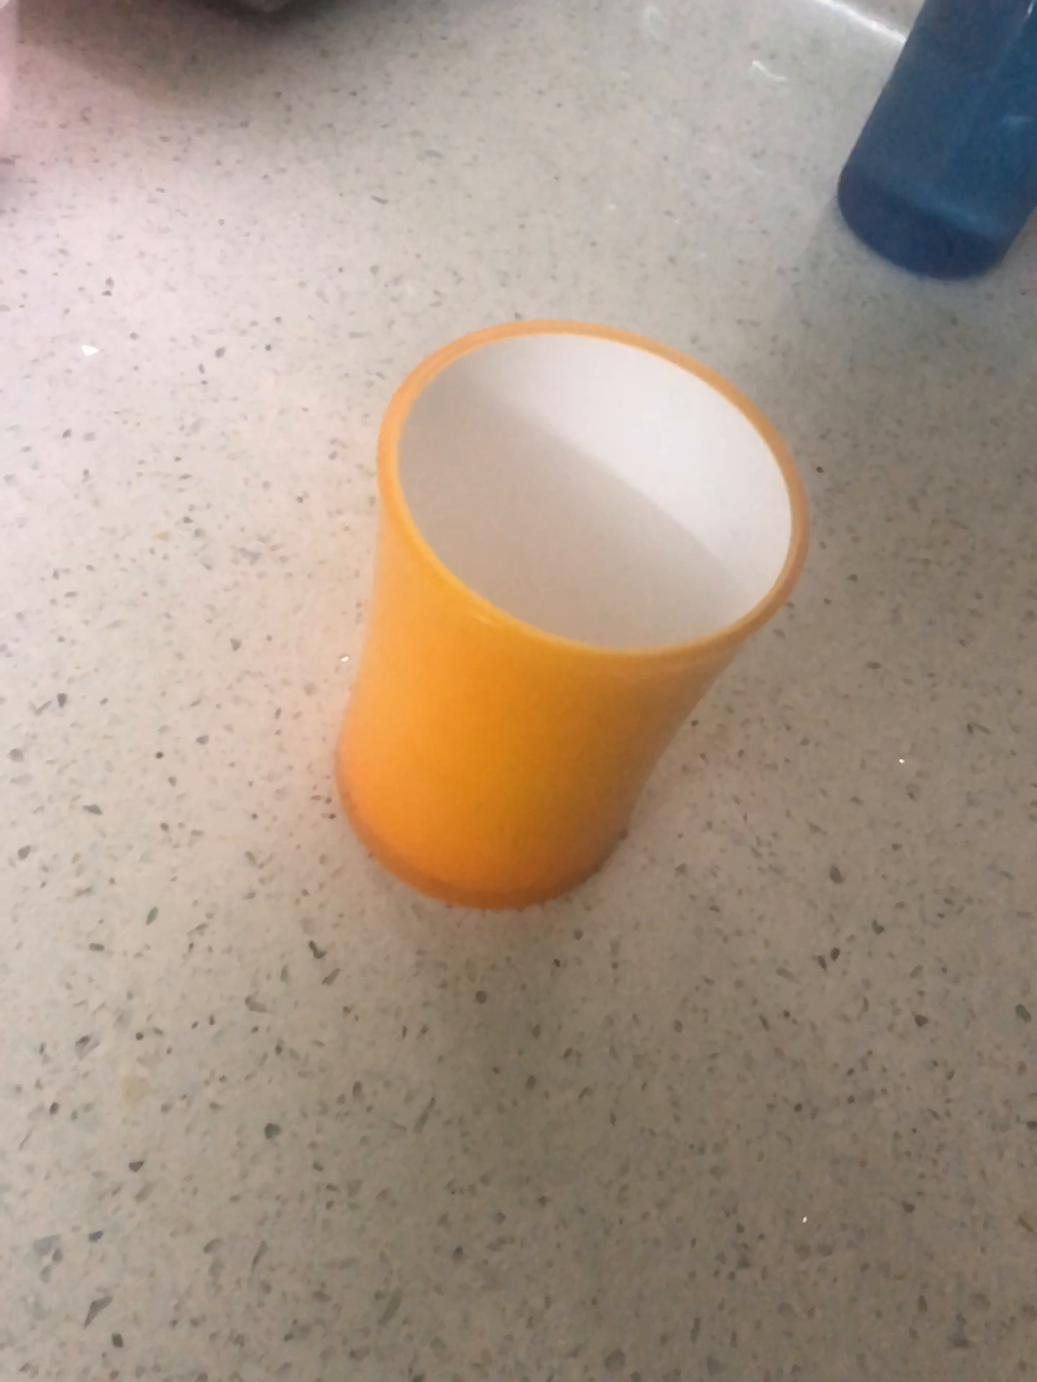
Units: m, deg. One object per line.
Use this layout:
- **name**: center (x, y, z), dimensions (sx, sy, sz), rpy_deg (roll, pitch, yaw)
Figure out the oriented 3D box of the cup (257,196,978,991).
- **cup**: center (0.006, -0.014, 0.222), dimensions (0.080, 0.110, 0.080), rpy_deg (6, 56, -10)
